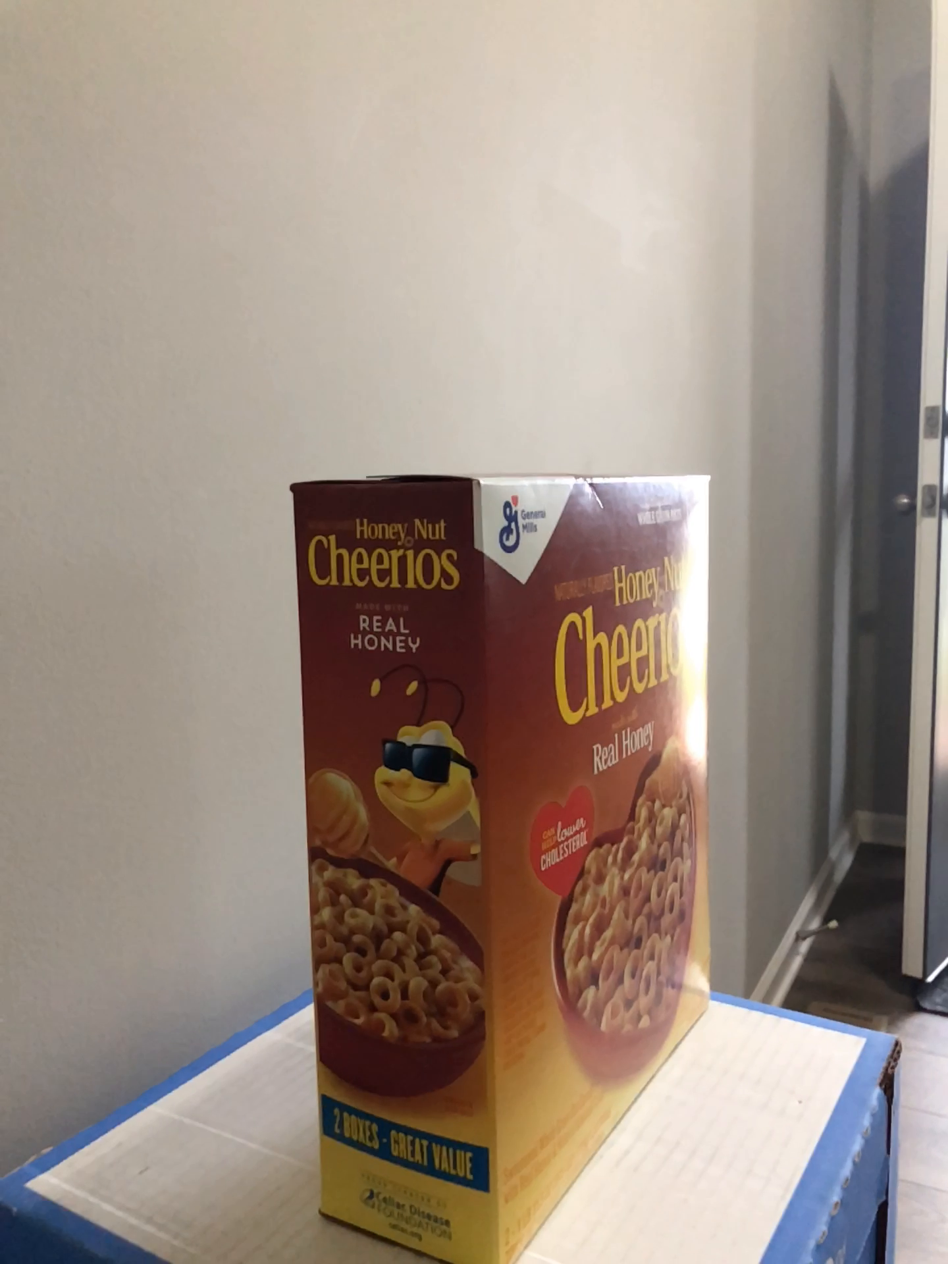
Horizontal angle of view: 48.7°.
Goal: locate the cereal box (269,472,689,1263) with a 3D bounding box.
[{"bbox_3d":[0.022,0.083,0.491,0.080,0.310,0.240,3,8,30],"label":"cereal box"}]
